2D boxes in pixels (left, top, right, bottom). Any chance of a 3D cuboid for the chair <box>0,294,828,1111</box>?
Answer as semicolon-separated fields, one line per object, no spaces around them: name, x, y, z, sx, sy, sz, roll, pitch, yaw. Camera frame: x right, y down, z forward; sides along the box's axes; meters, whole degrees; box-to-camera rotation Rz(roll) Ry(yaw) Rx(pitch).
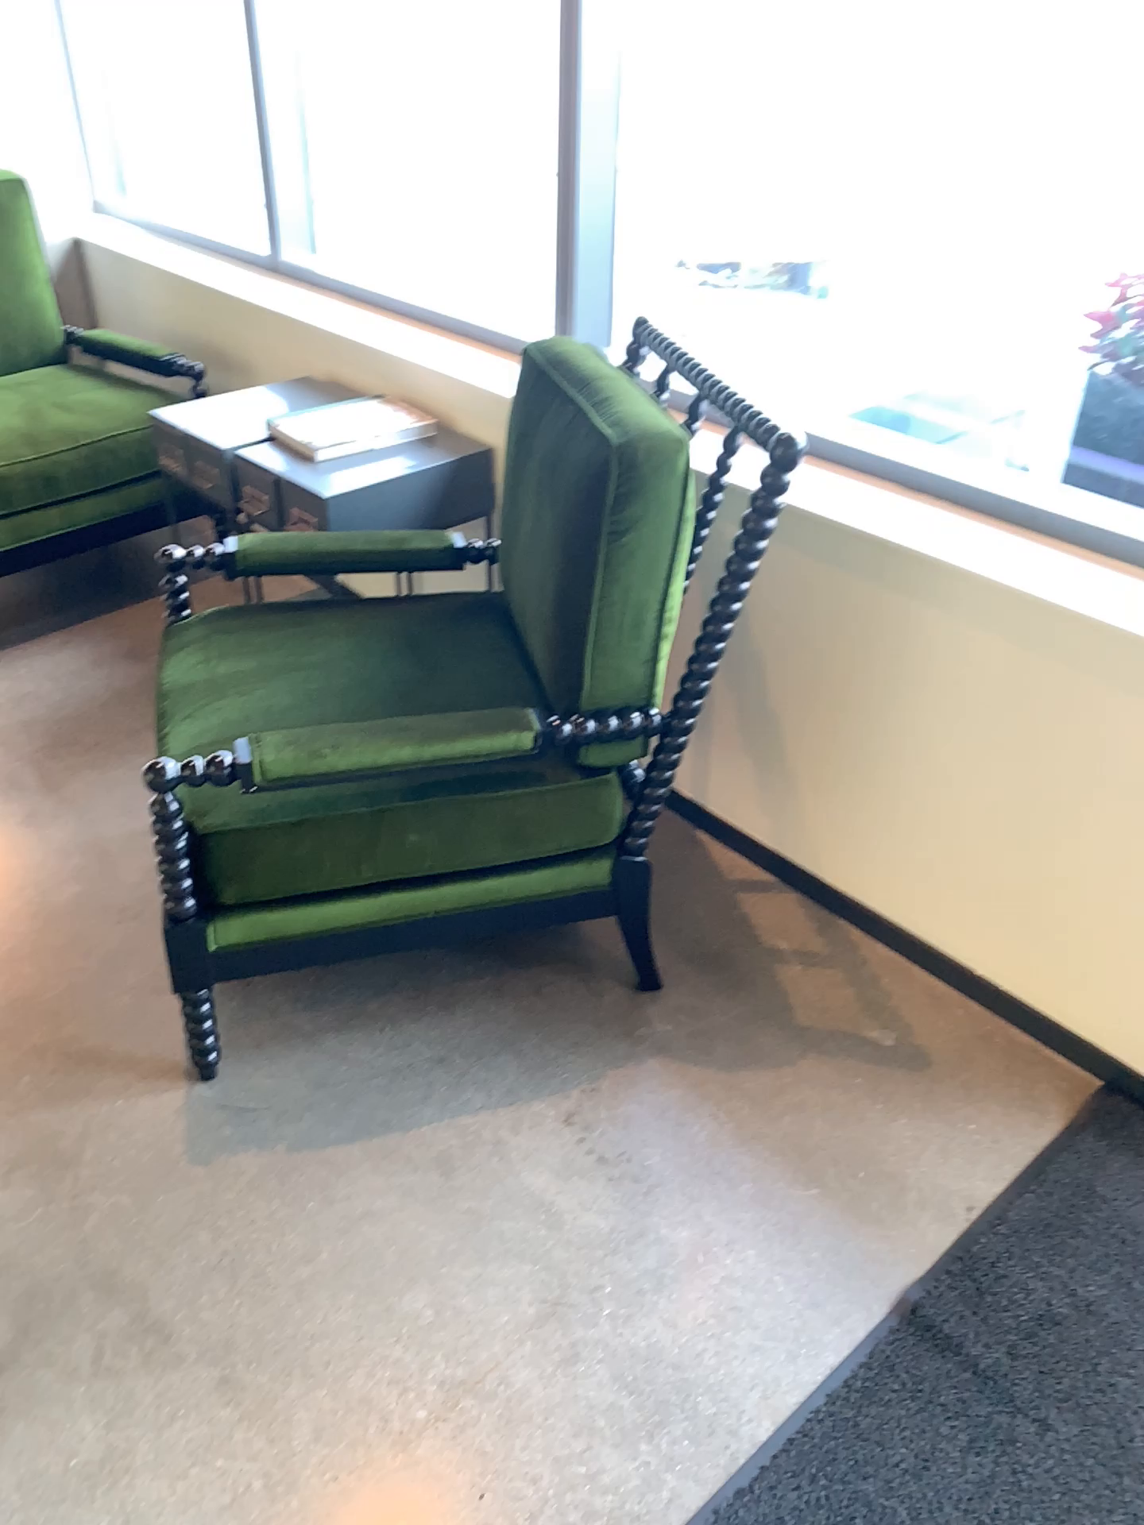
chair;-0.263;-0.167;1.913;0.940;0.924;0.876;-7;35;-12

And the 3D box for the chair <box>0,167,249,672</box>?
chair;-1.524;-0.946;3.029;0.914;0.924;0.842;27;41;33
